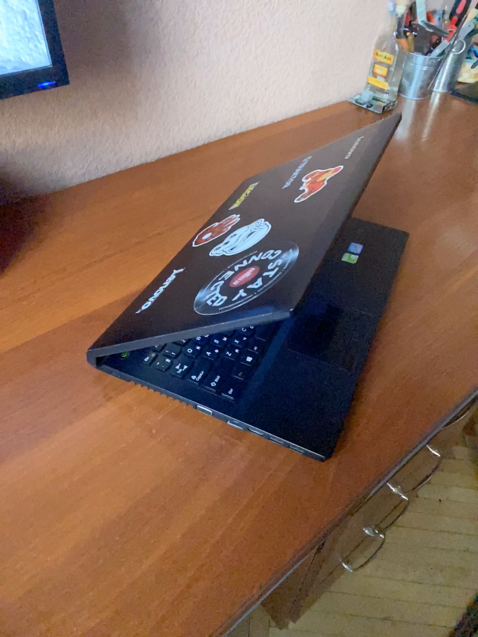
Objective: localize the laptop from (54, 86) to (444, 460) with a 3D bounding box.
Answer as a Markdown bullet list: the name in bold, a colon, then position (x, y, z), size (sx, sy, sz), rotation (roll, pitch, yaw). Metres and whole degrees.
- **laptop**: position (0.043, -0.091, 0.527), size (0.256, 0.149, 0.379), rotation (20, 46, 15)
